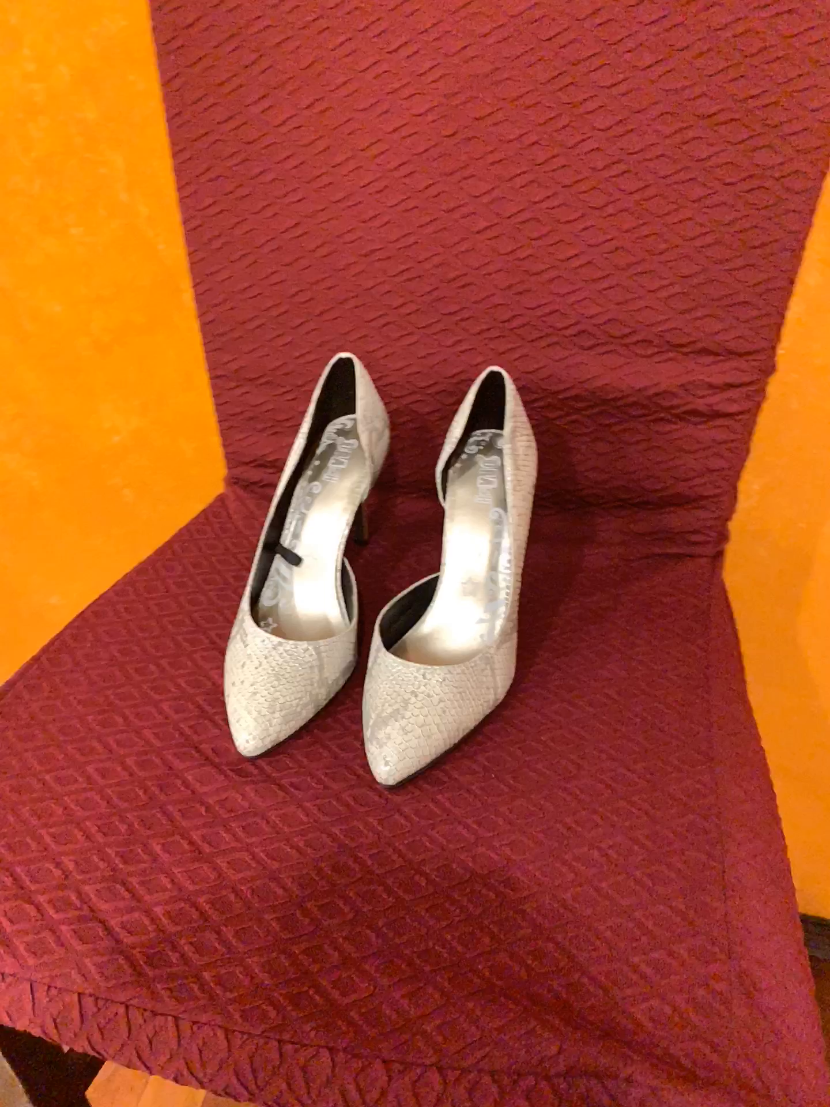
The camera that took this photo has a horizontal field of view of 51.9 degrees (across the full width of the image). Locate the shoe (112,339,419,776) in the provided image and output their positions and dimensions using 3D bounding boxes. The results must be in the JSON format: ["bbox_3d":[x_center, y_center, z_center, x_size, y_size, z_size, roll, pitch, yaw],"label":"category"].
[{"bbox_3d":[-0.069,-0.013,0.519,0.090,0.119,0.253,8,42,10],"label":"shoe"}]

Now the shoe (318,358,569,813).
[{"bbox_3d":[0.028,0.003,0.503,0.090,0.120,0.249,8,42,10],"label":"shoe"}]
